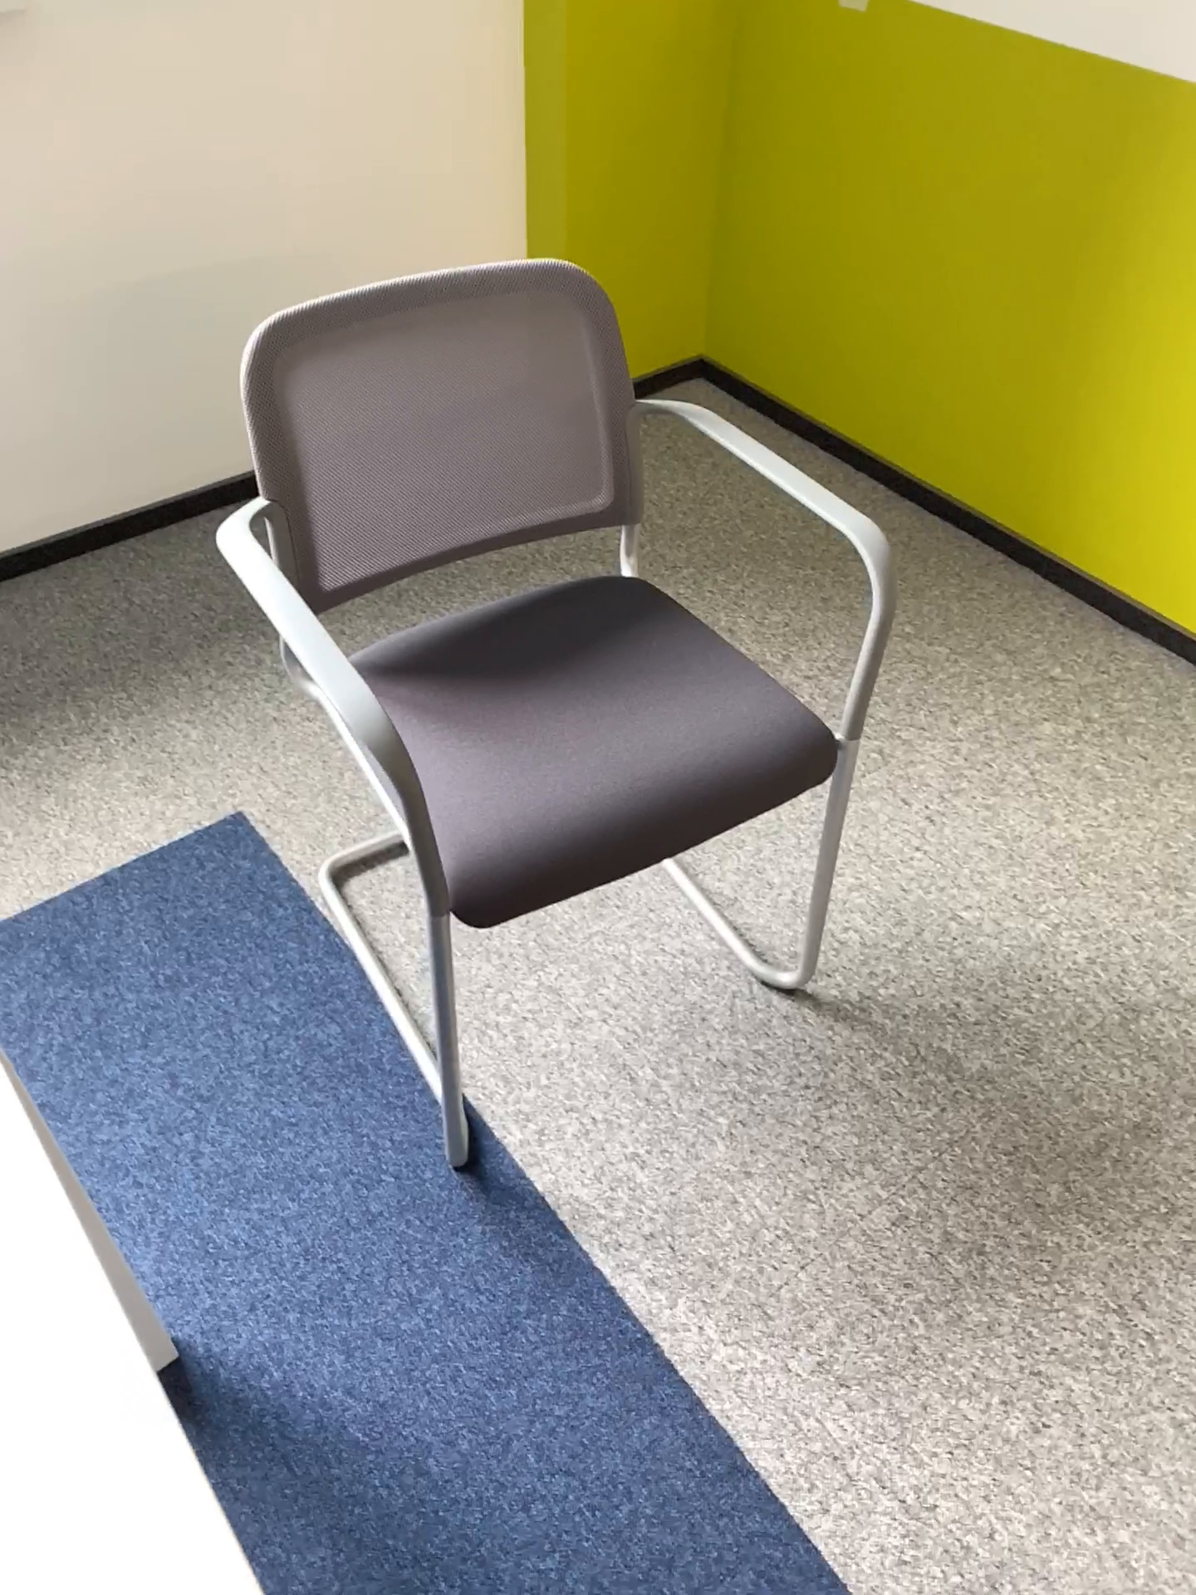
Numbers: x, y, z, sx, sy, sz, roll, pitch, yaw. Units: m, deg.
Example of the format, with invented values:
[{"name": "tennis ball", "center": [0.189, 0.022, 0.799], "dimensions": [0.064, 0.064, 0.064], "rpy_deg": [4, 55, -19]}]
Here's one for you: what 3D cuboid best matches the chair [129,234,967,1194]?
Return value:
[{"name": "chair", "center": [-0.075, -0.091, 1.292], "dimensions": [0.531, 0.726, 0.522], "rpy_deg": [-21, 49, -22]}]
